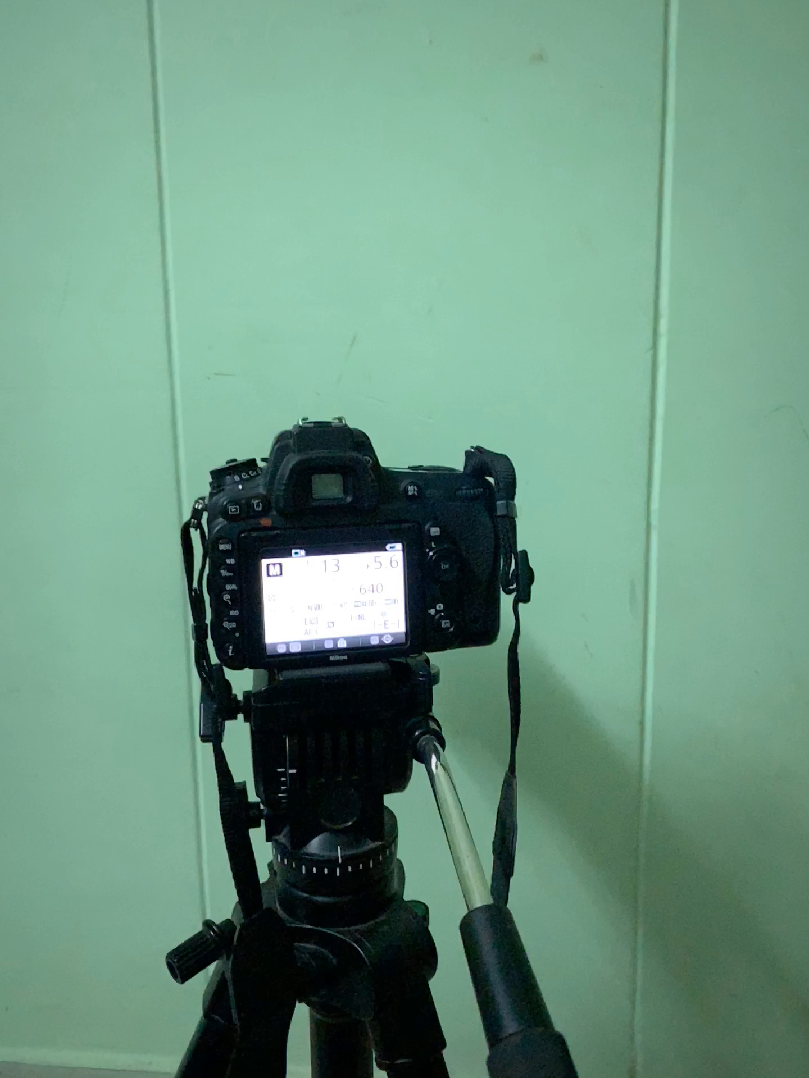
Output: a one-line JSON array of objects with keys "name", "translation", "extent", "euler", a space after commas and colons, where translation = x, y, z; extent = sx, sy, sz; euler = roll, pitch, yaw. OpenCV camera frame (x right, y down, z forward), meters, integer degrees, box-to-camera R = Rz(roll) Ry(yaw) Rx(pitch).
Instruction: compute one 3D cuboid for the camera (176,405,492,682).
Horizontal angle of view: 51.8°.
[{"name": "camera", "translation": [-0.048, -0.013, 0.463], "extent": [0.140, 0.117, 0.182], "euler": [-3, 10, -13]}]
